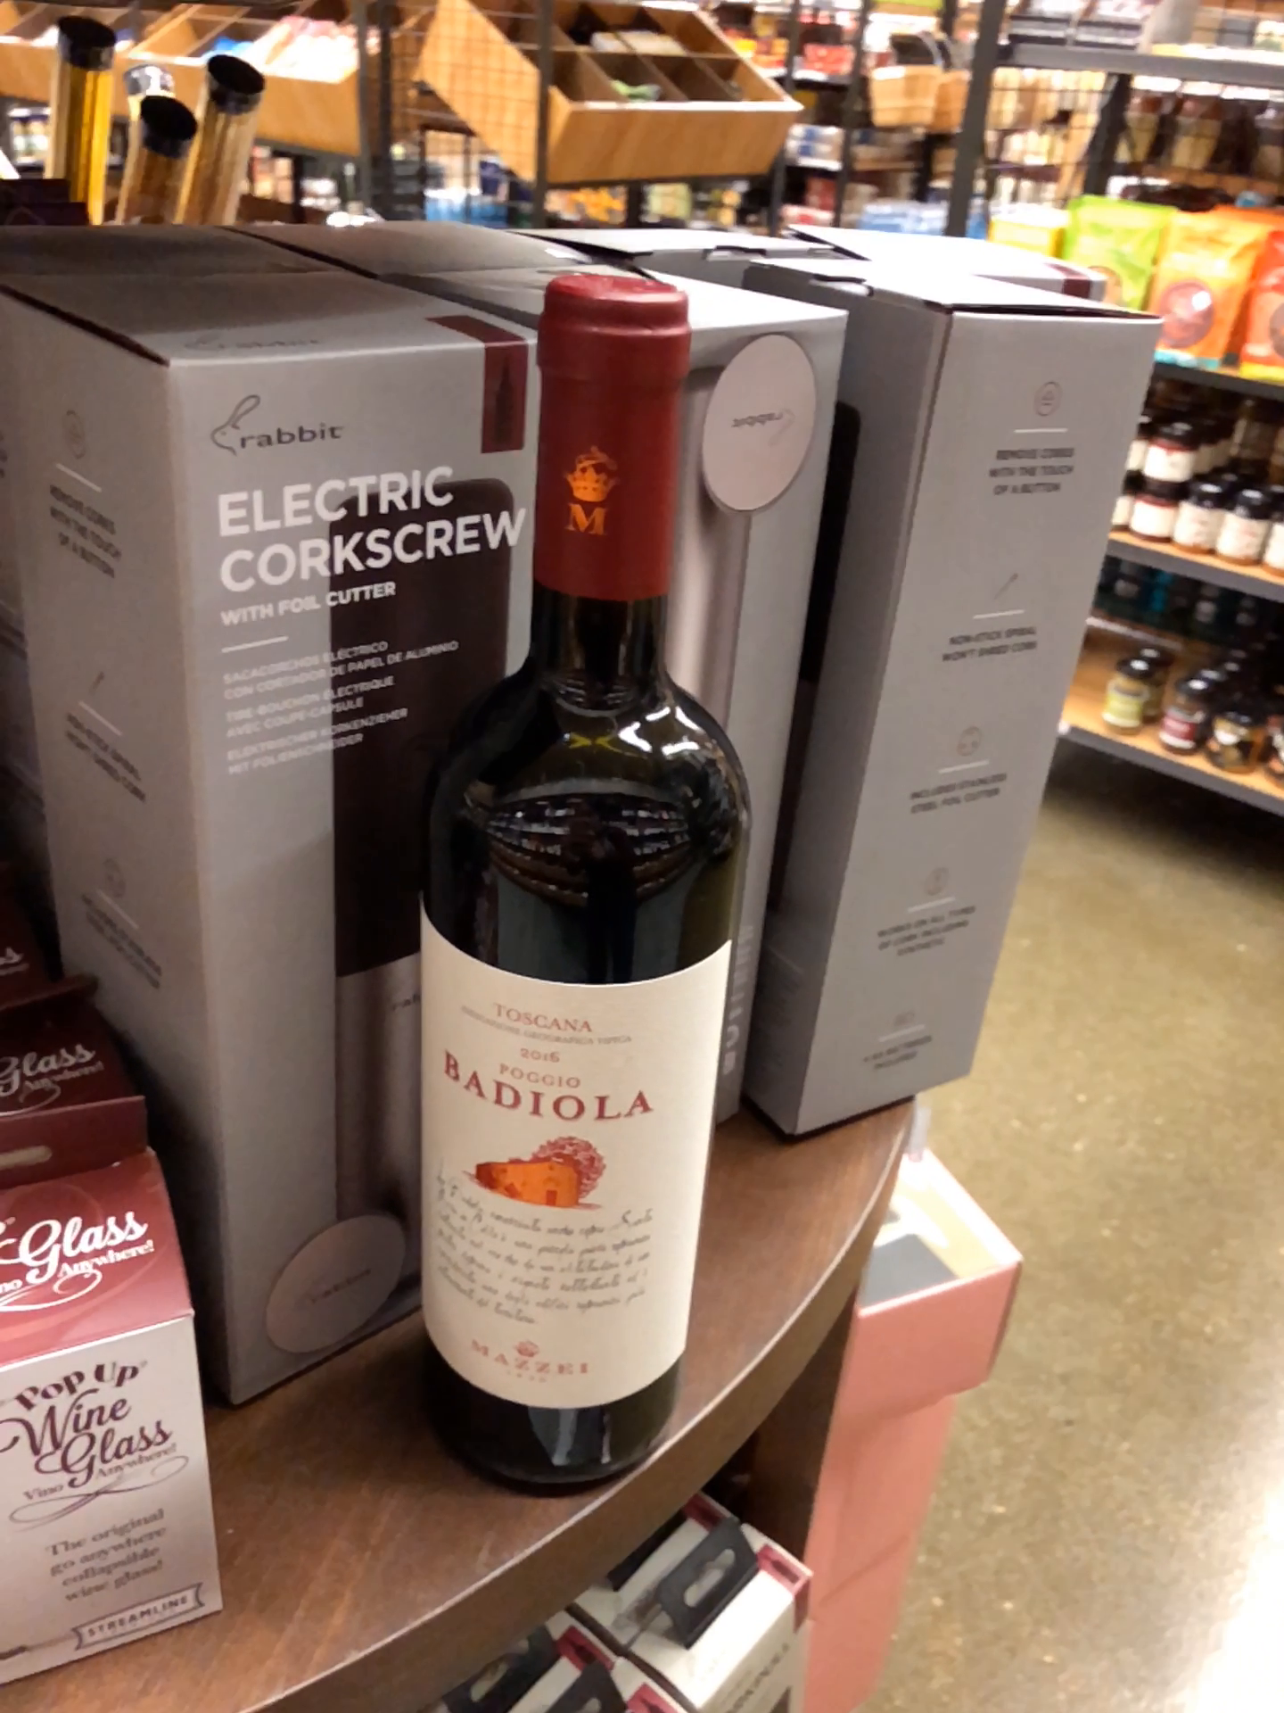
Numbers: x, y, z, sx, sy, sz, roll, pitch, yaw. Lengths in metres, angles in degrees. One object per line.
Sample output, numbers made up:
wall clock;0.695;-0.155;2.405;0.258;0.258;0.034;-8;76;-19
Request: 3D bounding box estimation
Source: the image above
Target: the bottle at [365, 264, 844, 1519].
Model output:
bottle;-0.011;0.023;0.331;0.076;0.285;0.073;3;29;-2
